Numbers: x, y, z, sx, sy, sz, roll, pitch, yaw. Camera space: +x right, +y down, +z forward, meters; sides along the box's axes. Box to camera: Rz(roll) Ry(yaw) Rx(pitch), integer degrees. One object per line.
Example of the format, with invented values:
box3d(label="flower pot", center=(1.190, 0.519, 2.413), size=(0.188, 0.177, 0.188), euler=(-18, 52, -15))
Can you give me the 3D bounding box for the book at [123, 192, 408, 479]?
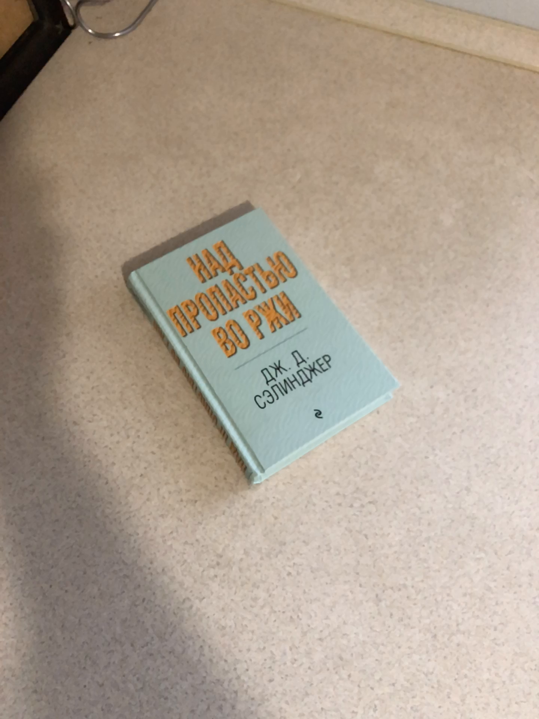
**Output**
box3d(label="book", center=(-0.007, -0.025, 0.409), size=(0.115, 0.020, 0.176), euler=(-30, 69, -13))
